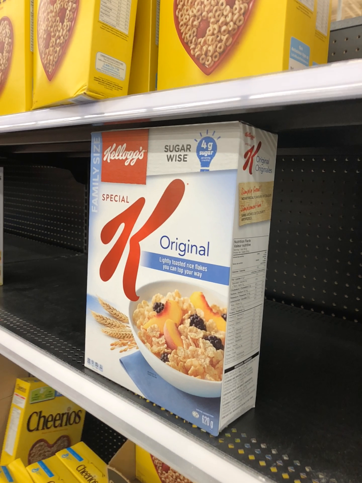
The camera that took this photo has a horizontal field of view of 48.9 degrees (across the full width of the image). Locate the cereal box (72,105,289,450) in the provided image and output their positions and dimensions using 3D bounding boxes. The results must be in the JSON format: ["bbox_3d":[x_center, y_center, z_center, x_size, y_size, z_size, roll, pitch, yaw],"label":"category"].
[{"bbox_3d":[-0.020,0.023,0.485,0.260,0.329,0.080,9,10,39],"label":"cereal box"}]
